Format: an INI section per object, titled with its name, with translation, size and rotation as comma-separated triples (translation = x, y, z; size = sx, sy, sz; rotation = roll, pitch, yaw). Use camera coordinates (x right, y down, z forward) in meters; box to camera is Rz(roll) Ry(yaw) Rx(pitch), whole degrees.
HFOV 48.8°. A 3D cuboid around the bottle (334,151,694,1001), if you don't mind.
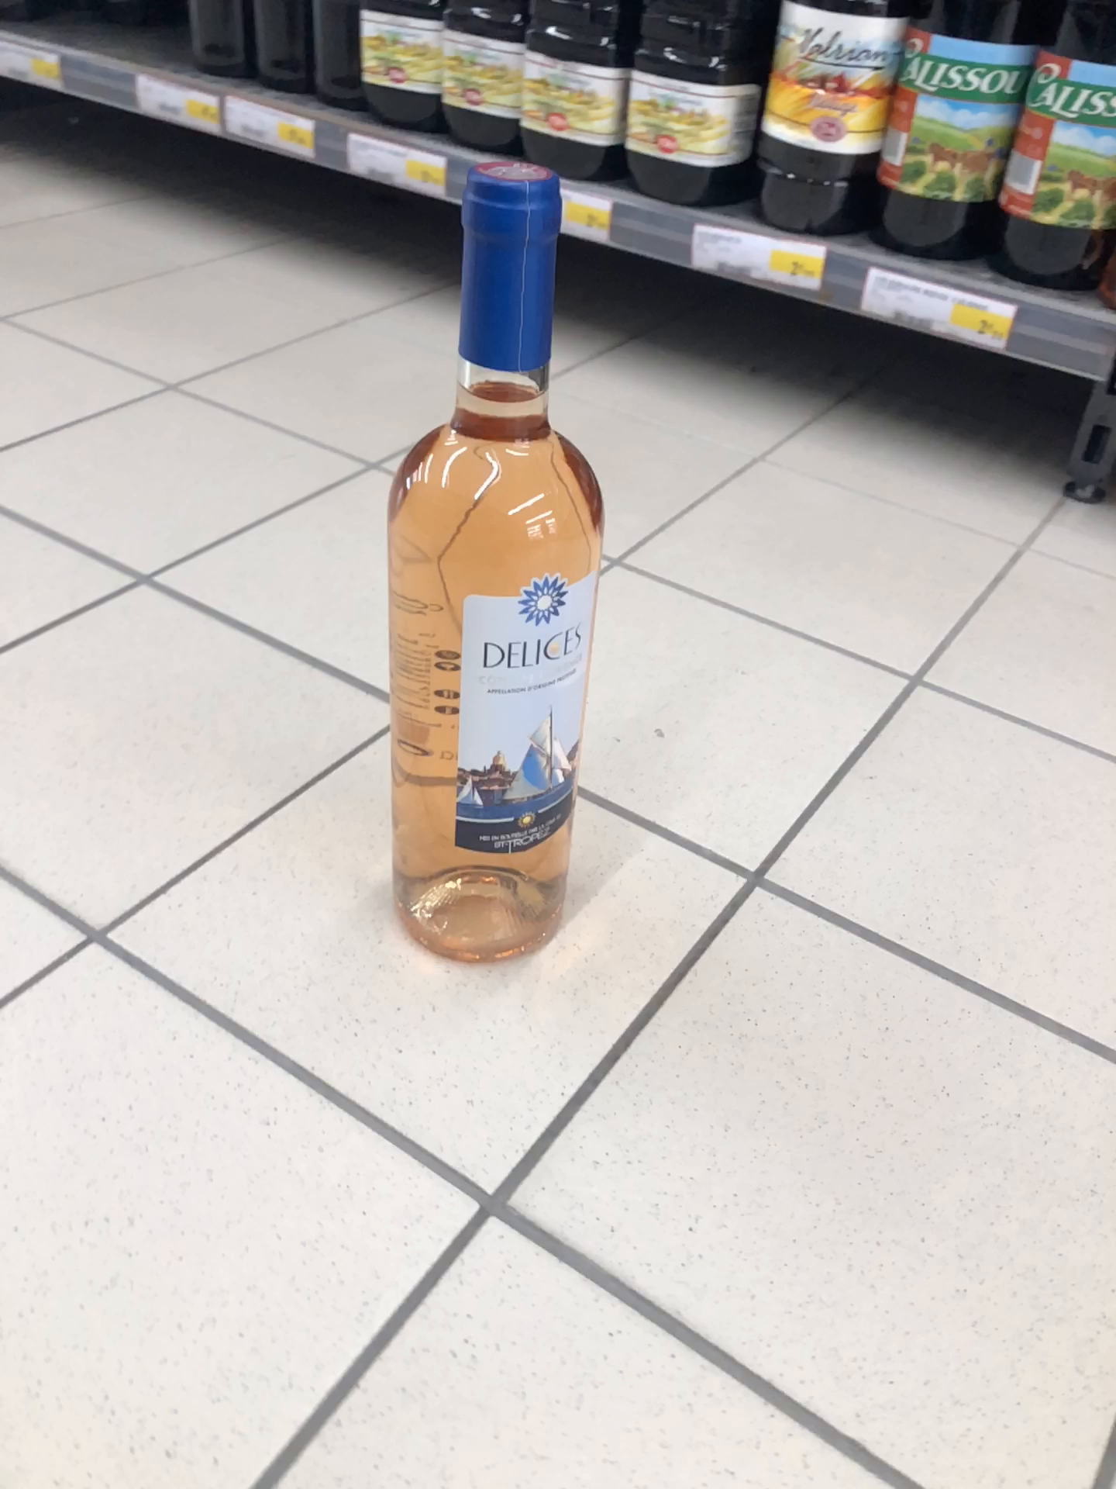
[bottle]
translation = -0.025, -0.046, 0.439
size = 0.080, 0.288, 0.080
rotation = 3, 36, -2
